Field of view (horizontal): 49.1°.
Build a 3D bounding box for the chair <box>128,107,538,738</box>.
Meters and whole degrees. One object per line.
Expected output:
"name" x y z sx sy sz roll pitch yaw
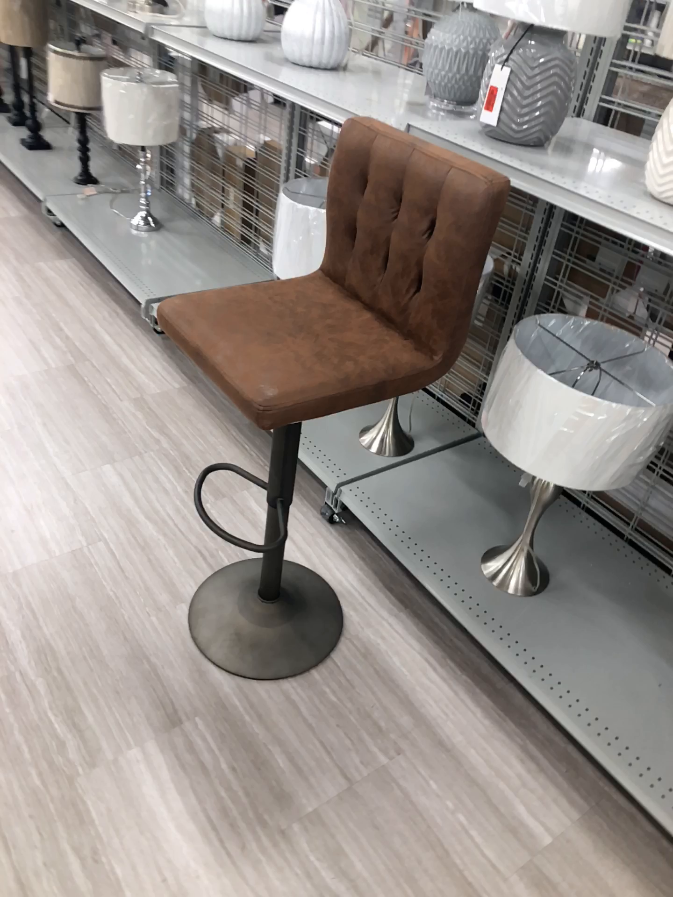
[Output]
"chair" -0.079 -0.035 1.481 0.469 1.102 0.475 -17 42 -31
